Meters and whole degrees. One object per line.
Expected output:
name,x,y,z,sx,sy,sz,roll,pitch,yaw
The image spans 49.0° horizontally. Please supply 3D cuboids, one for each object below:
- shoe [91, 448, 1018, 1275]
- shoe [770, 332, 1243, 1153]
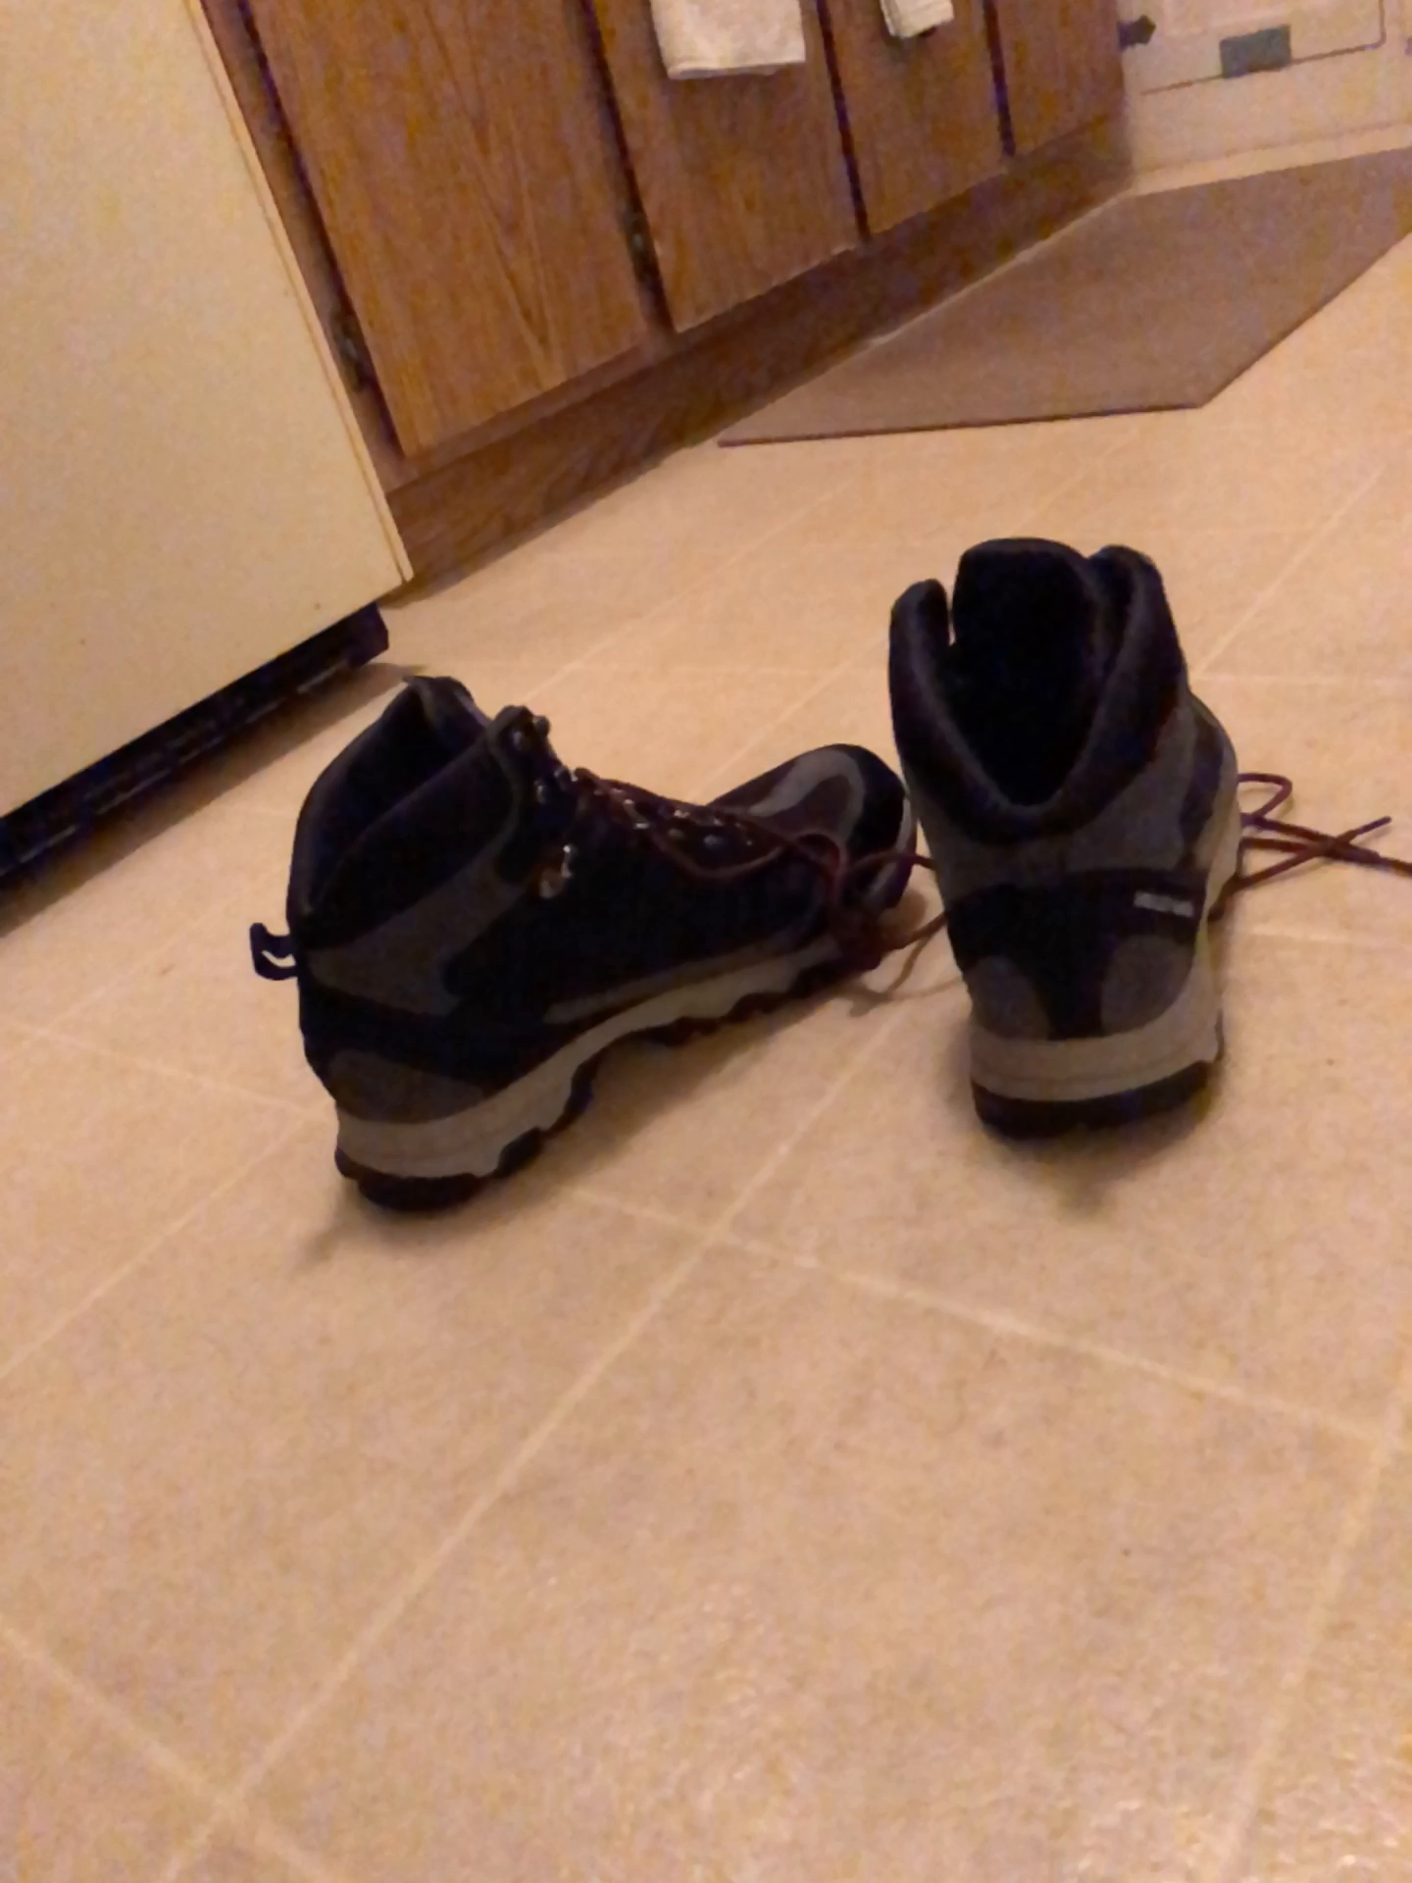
shoe,-0.047,-0.048,0.632,0.310,0.195,0.127,-29,31,-20
shoe,0.140,-0.091,0.608,0.116,0.195,0.301,-4,32,22
